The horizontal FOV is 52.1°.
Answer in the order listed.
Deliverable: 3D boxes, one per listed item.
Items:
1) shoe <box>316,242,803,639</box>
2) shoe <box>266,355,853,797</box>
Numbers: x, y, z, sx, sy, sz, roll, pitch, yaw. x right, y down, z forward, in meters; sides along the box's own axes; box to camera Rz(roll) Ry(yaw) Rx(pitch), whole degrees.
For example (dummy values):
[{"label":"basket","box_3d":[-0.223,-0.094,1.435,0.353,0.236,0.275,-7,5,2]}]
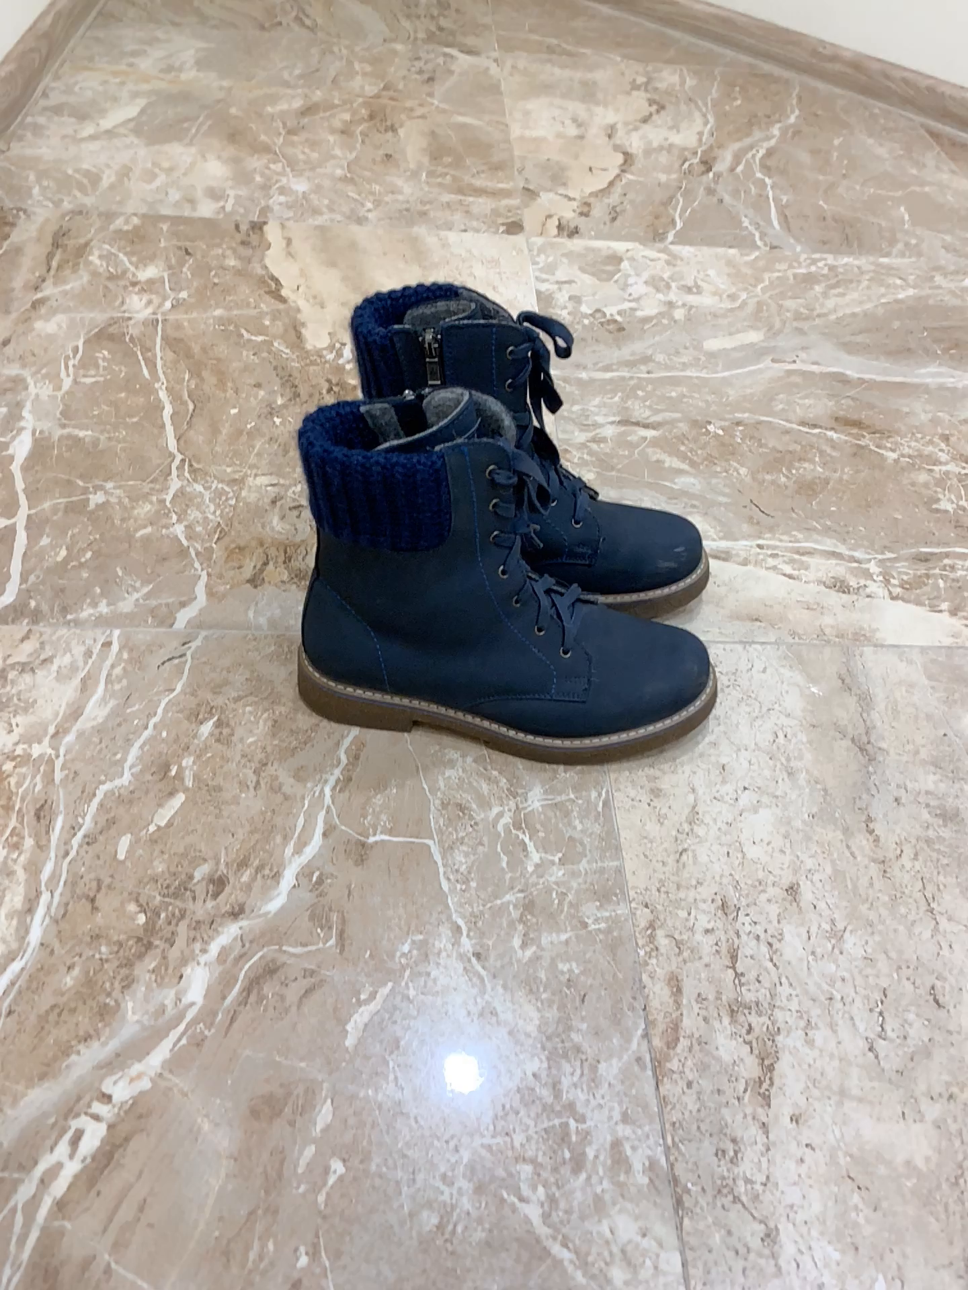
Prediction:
[{"label":"shoe","box_3d":[0.036,-0.123,0.633,0.260,0.199,0.102,6,47,-1]},{"label":"shoe","box_3d":[0.029,-0.029,0.543,0.260,0.199,0.102,6,47,-1]}]
